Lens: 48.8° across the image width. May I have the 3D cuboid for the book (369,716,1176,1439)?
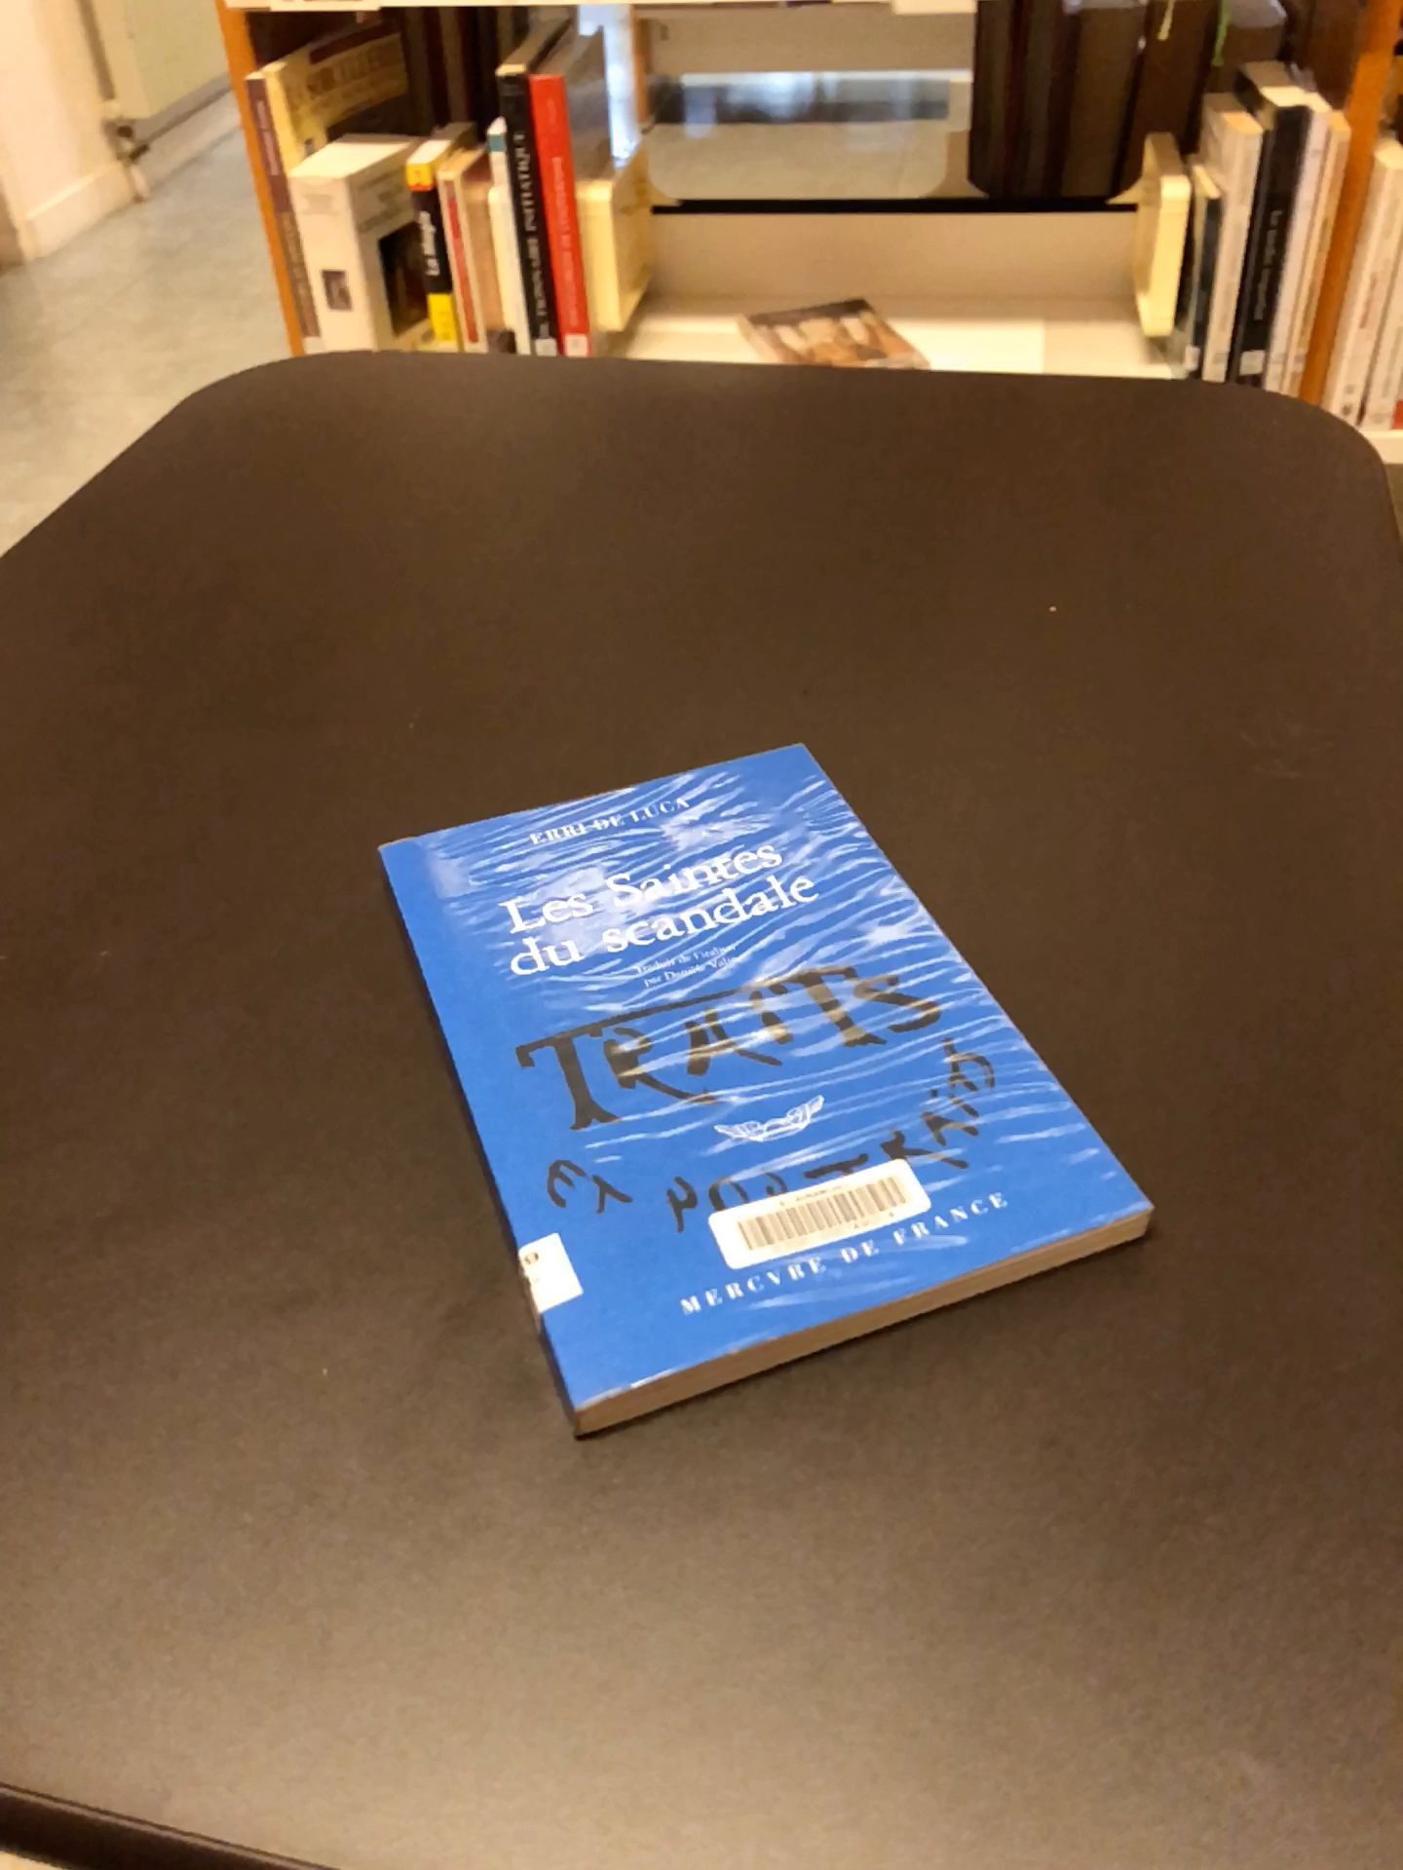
[{"bbox_3d":[0.003,0.017,0.417,0.144,0.017,0.216,-15,42,-14],"label":"book"}]
